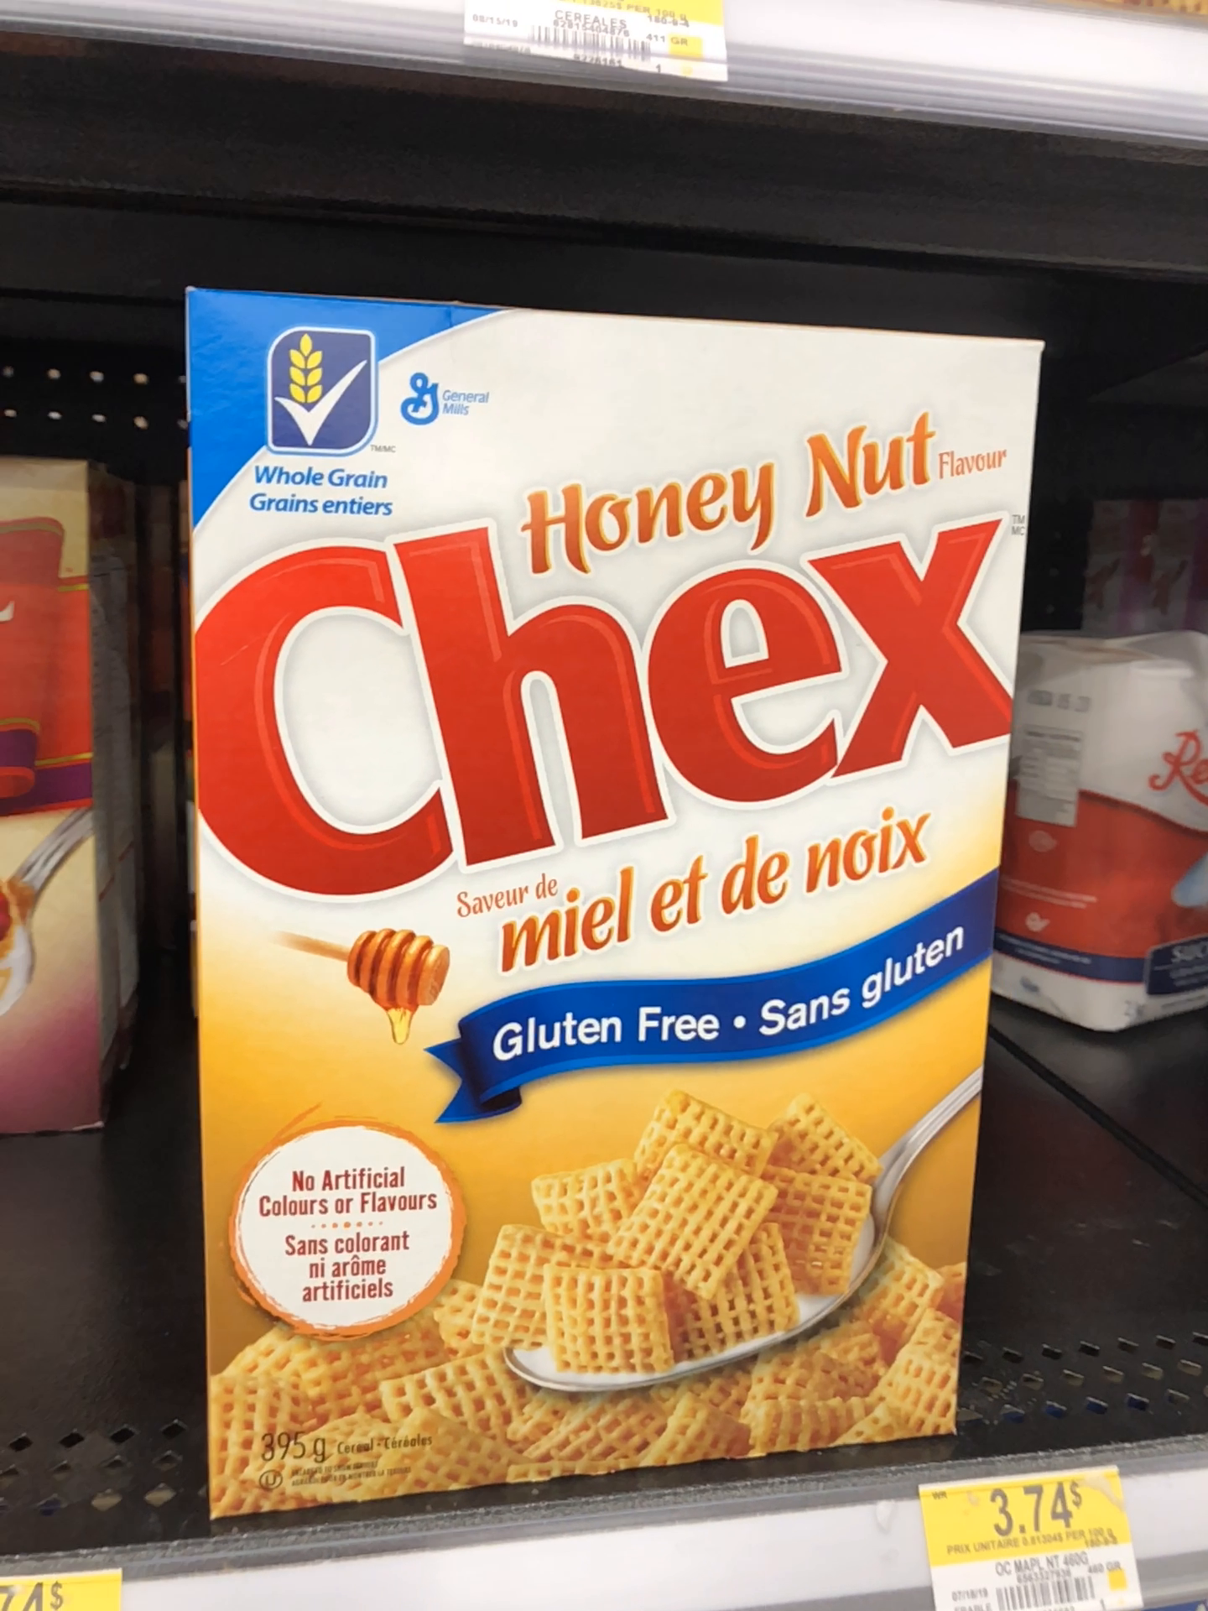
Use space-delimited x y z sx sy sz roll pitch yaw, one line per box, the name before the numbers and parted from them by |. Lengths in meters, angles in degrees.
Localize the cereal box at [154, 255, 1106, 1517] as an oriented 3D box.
cereal box | 0.004 0.023 0.335 0.210 0.279 0.050 0 9 -12
